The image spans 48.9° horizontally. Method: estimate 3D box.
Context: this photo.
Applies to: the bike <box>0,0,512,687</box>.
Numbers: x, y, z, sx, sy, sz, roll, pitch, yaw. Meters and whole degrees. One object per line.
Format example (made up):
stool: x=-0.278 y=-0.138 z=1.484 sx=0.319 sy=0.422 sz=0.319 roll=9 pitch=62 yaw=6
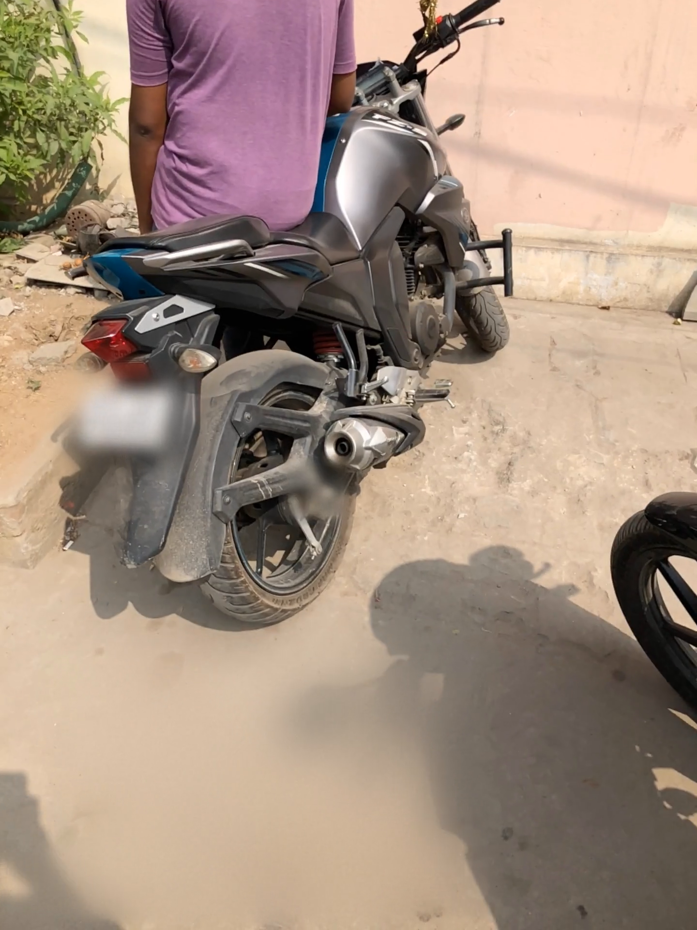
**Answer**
bike: x=-0.155 y=-0.716 z=2.093 sx=0.808 sy=1.222 sz=1.838 roll=10 pitch=39 yaw=15
